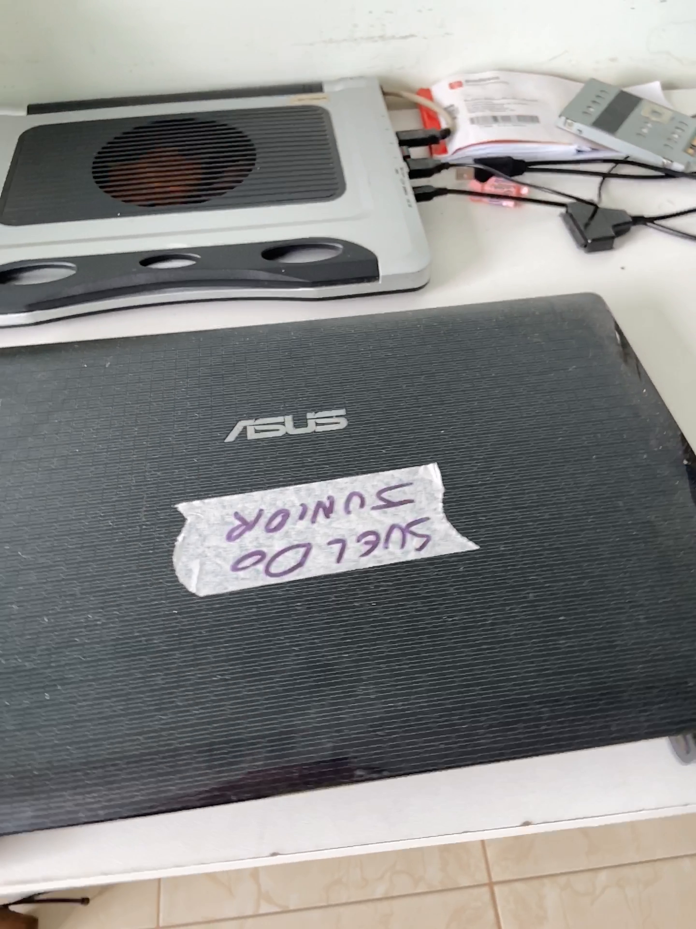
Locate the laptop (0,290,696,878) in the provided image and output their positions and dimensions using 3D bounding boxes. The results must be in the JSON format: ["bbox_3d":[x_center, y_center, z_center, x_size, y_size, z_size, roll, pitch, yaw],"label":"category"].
[{"bbox_3d":[-0.027,0.017,0.315,0.362,0.001,0.238,-7,51,-3],"label":"laptop"}]
